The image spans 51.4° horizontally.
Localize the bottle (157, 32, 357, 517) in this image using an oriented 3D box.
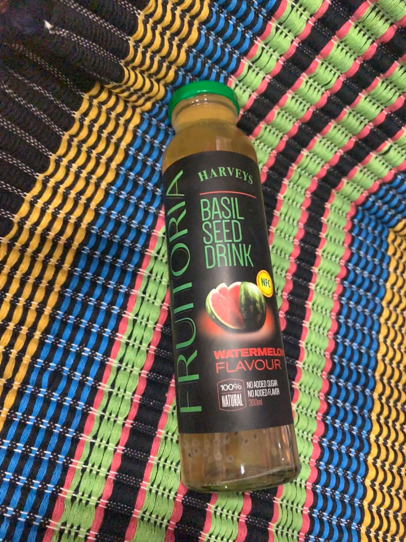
[{"bbox_3d":[0.014,-0.007,0.200,0.060,0.060,0.200,-3,75,-6],"label":"bottle"}]
